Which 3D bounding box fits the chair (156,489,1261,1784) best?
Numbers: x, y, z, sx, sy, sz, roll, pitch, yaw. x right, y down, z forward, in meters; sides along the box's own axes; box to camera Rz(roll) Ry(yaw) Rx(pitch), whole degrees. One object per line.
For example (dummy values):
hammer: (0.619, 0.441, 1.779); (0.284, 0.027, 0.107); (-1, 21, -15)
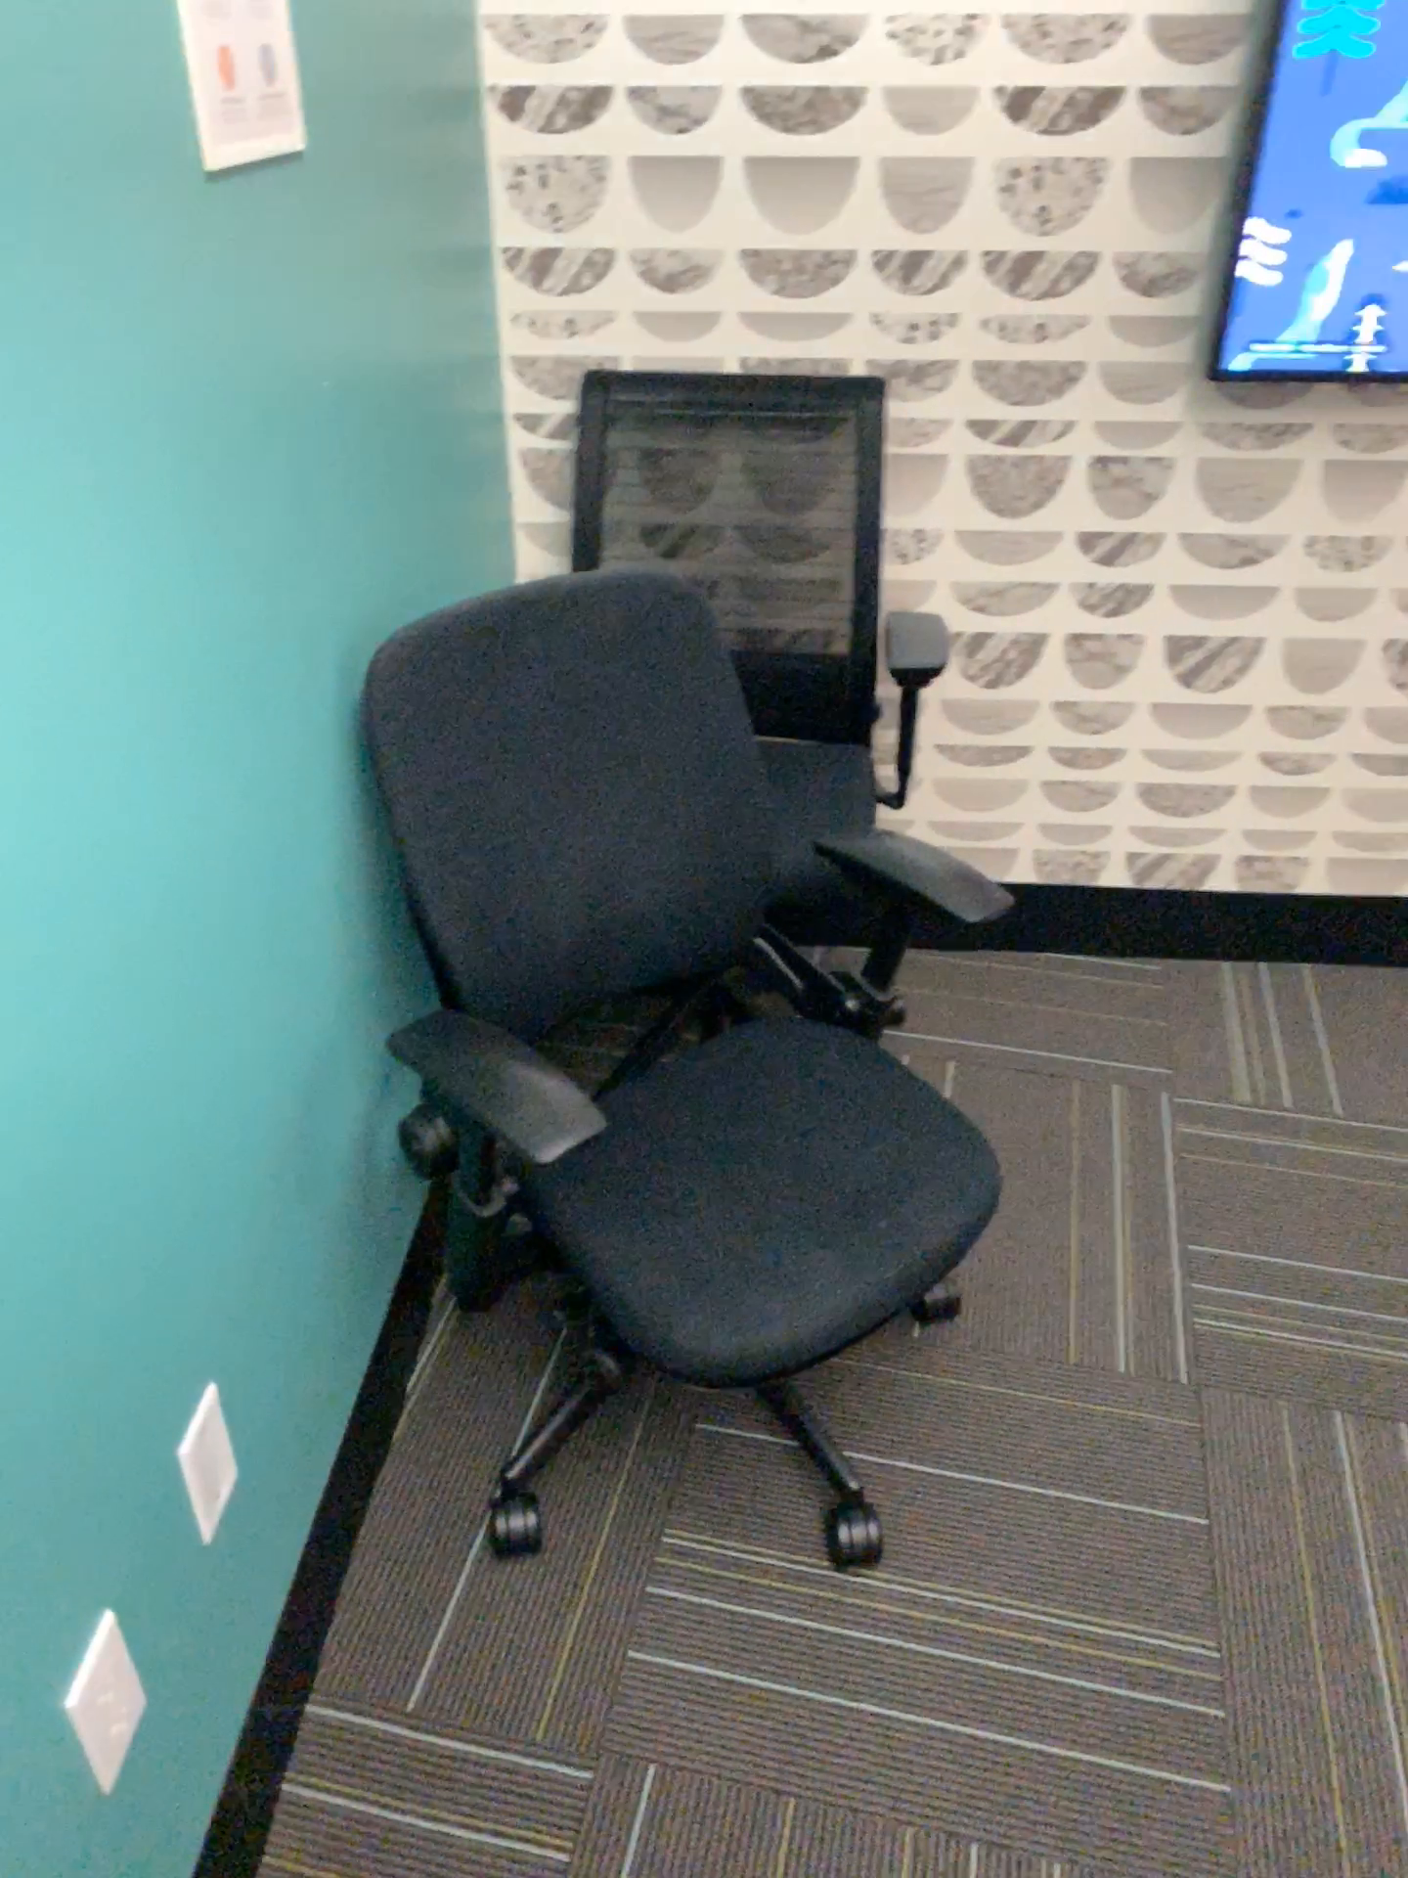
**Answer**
chair: (-0.024, 0.130, 1.538); (0.661, 0.944, 0.774); (-24, 39, -32)
